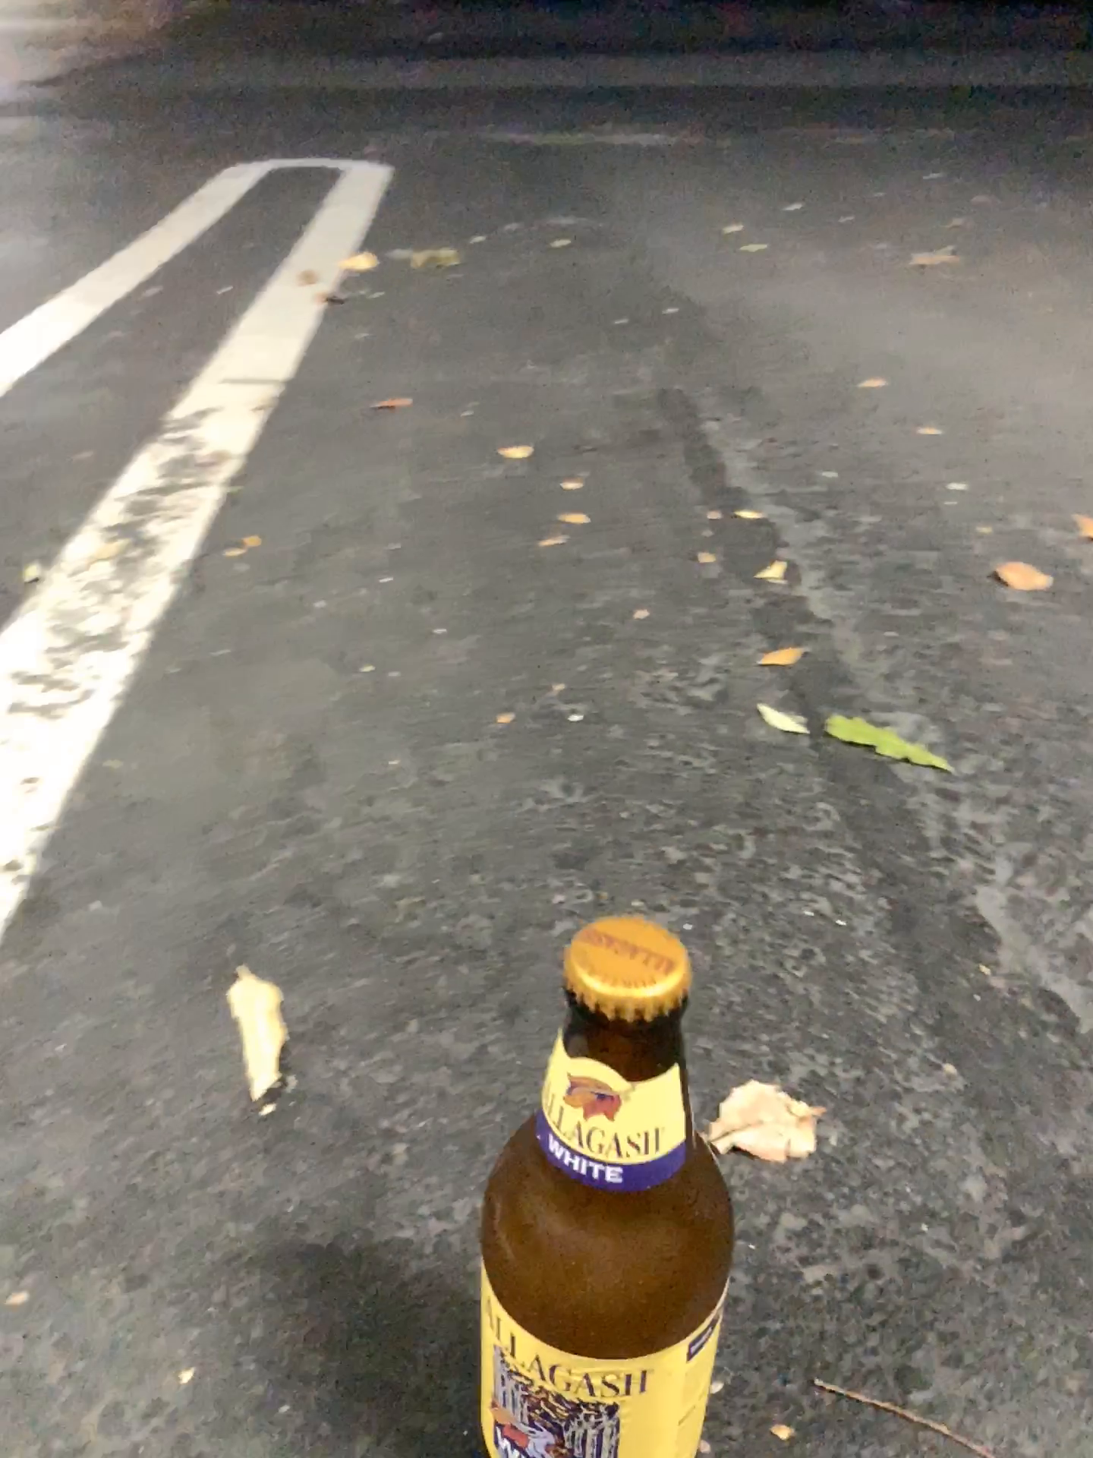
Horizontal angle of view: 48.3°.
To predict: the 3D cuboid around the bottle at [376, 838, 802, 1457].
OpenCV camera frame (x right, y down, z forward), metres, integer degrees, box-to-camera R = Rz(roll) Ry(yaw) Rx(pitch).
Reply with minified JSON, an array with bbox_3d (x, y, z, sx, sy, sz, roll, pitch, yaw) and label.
[{"bbox_3d":[0.011,0.132,0.318,0.070,0.190,0.070,0,33,0],"label":"bottle"}]
